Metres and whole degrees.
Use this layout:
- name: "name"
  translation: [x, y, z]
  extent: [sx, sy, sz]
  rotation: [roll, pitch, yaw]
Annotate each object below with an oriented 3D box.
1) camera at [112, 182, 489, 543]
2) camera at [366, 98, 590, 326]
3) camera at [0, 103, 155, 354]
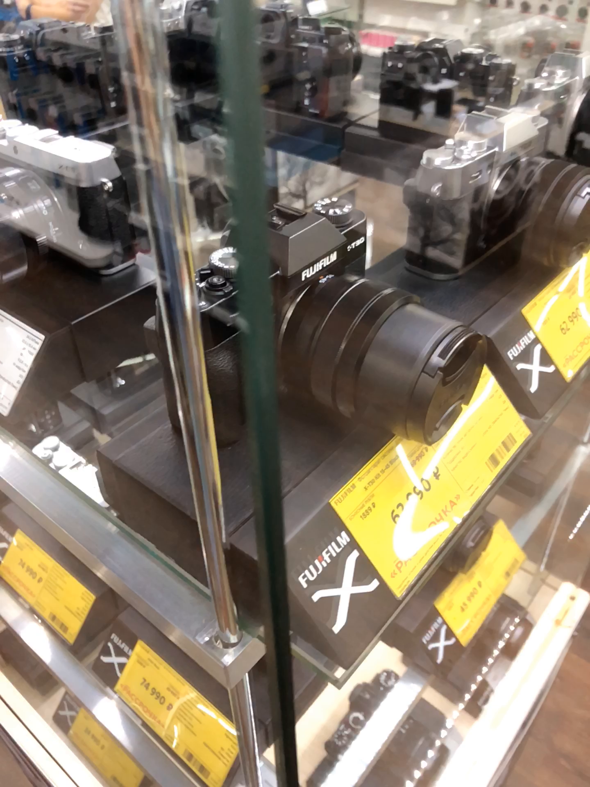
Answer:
- name: "camera"
  translation: [0.005, -0.024, 0.299]
  extent: [0.110, 0.090, 0.114]
  rotation: [25, 46, 30]
- name: "camera"
  translation: [0.123, -0.117, 0.398]
  extent: [0.109, 0.078, 0.114]
  rotation: [28, 47, 32]
- name: "camera"
  translation: [-0.176, -0.108, 0.403]
  extent: [0.114, 0.090, 0.120]
  rotation: [26, 46, 30]
